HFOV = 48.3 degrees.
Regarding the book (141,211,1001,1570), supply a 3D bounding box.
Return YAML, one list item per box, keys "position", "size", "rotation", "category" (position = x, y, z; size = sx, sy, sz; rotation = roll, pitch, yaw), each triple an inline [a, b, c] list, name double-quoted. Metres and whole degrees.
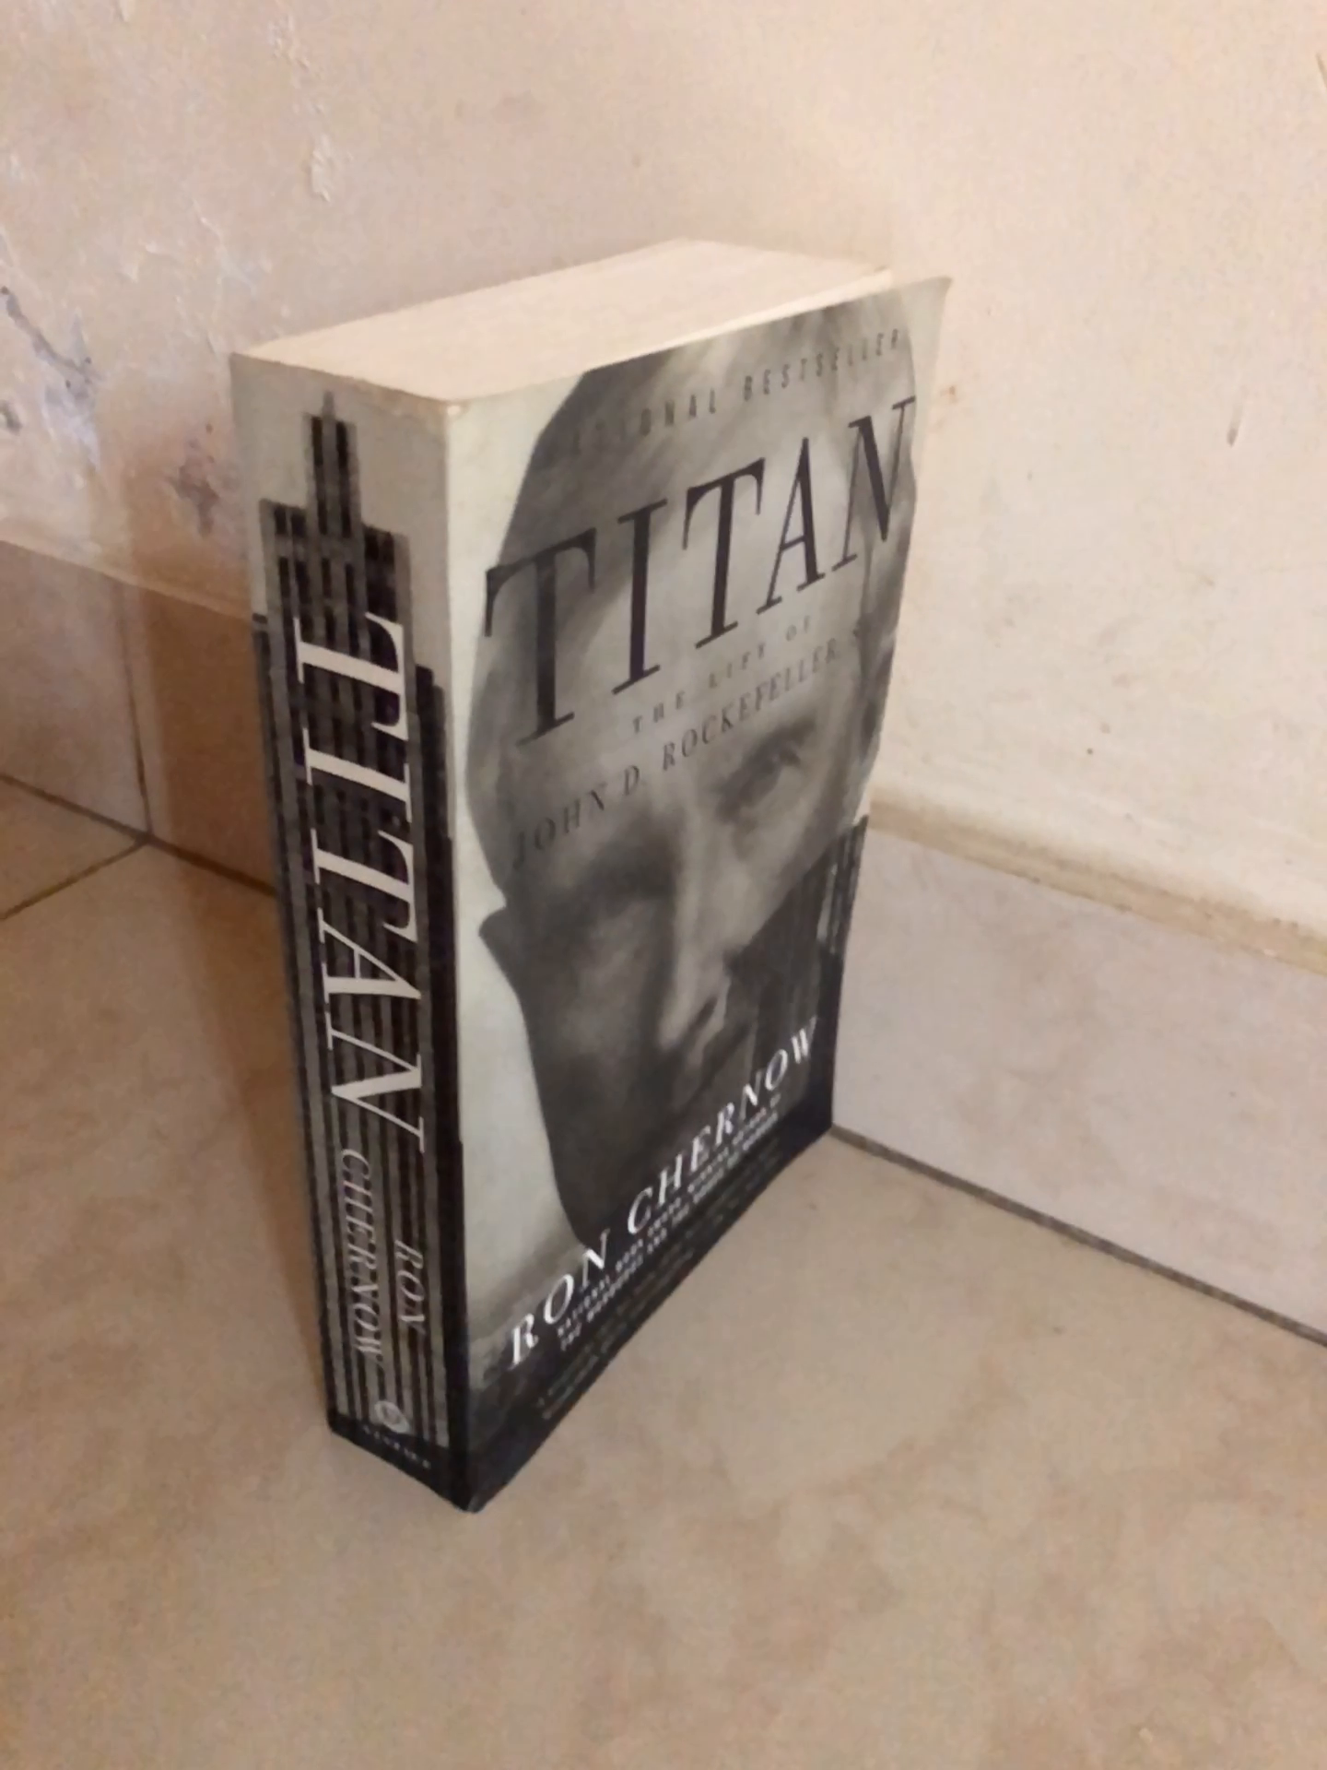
- position: [-0.005, -0.013, 0.328]
  size: [0.060, 0.229, 0.201]
  rotation: [18, 34, 22]
  category: "book"
